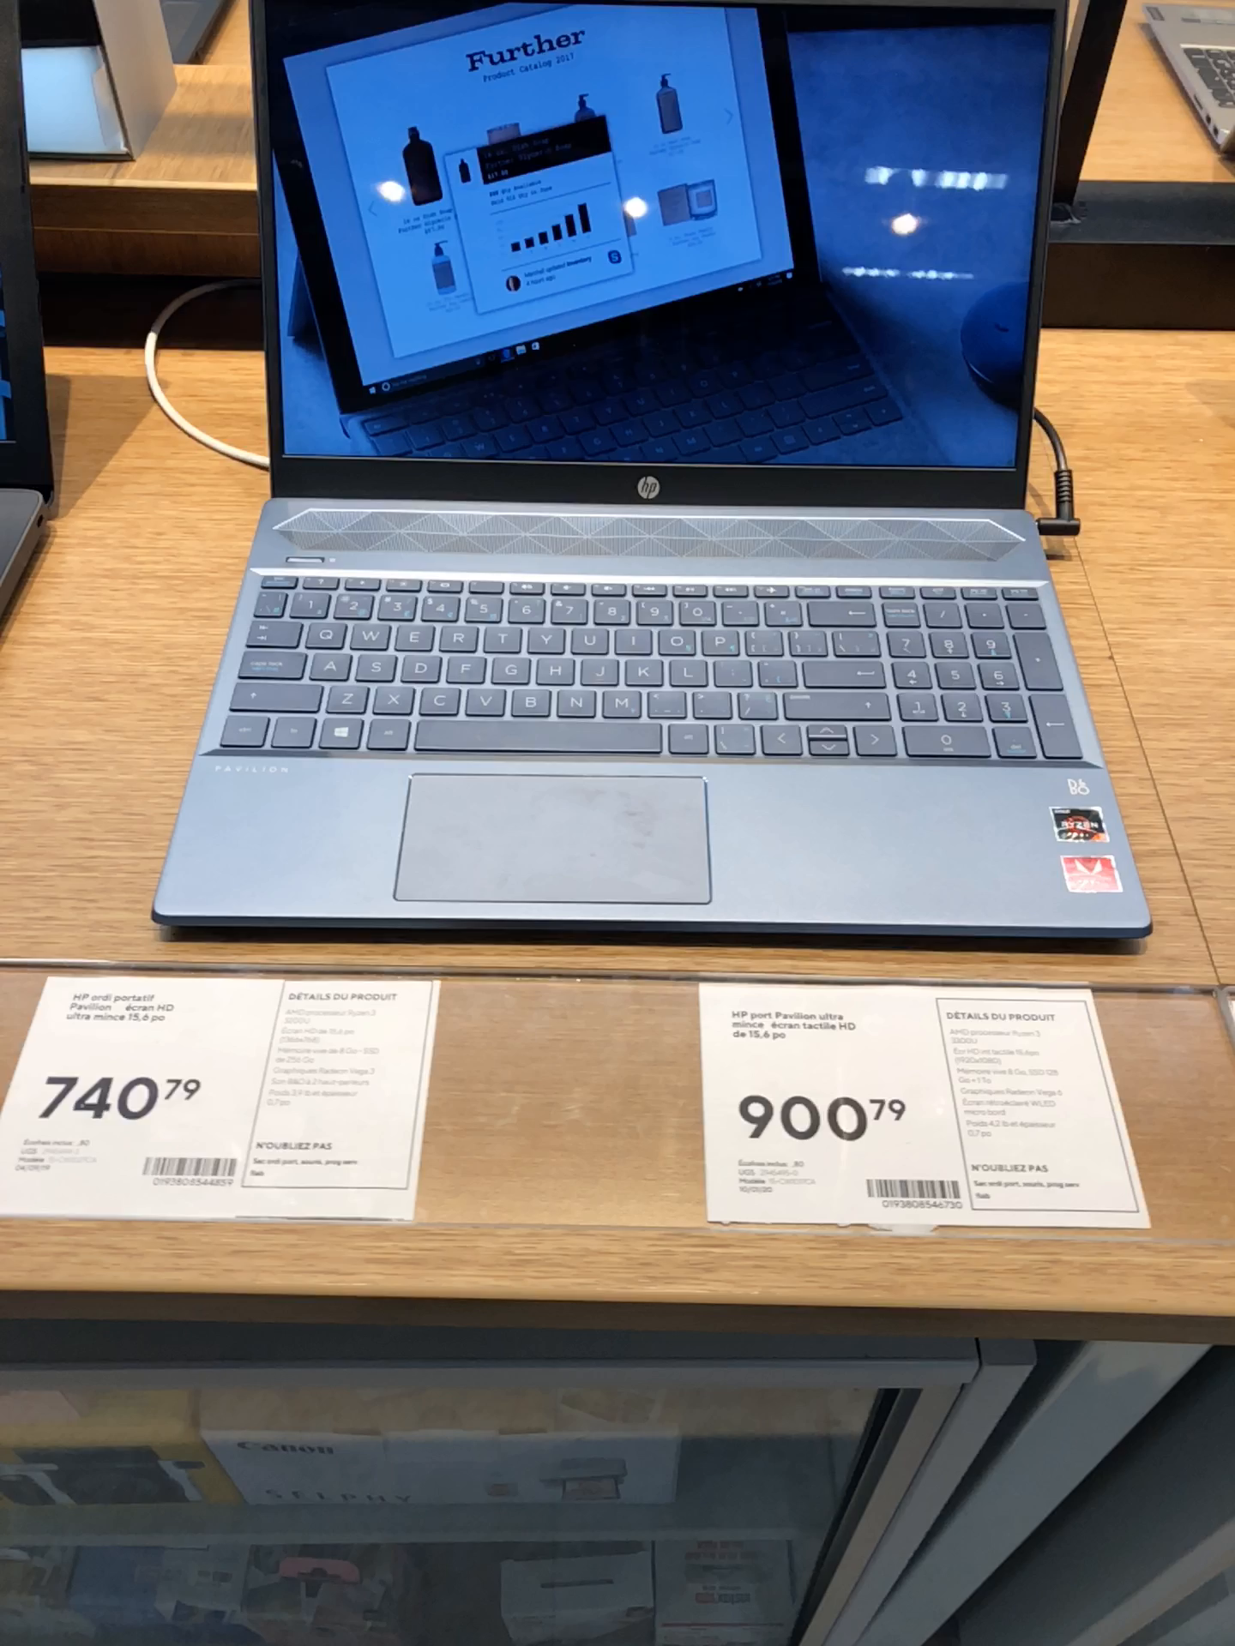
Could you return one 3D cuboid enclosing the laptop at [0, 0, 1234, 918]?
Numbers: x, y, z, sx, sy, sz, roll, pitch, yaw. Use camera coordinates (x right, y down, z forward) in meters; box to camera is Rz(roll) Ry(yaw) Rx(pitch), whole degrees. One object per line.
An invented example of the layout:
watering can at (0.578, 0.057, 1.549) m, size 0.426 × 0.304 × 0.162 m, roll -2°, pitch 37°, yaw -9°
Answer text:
laptop at (0.013, -0.164, 0.523) m, size 0.338 × 0.185 × 0.357 m, roll 1°, pitch 49°, yaw -2°
